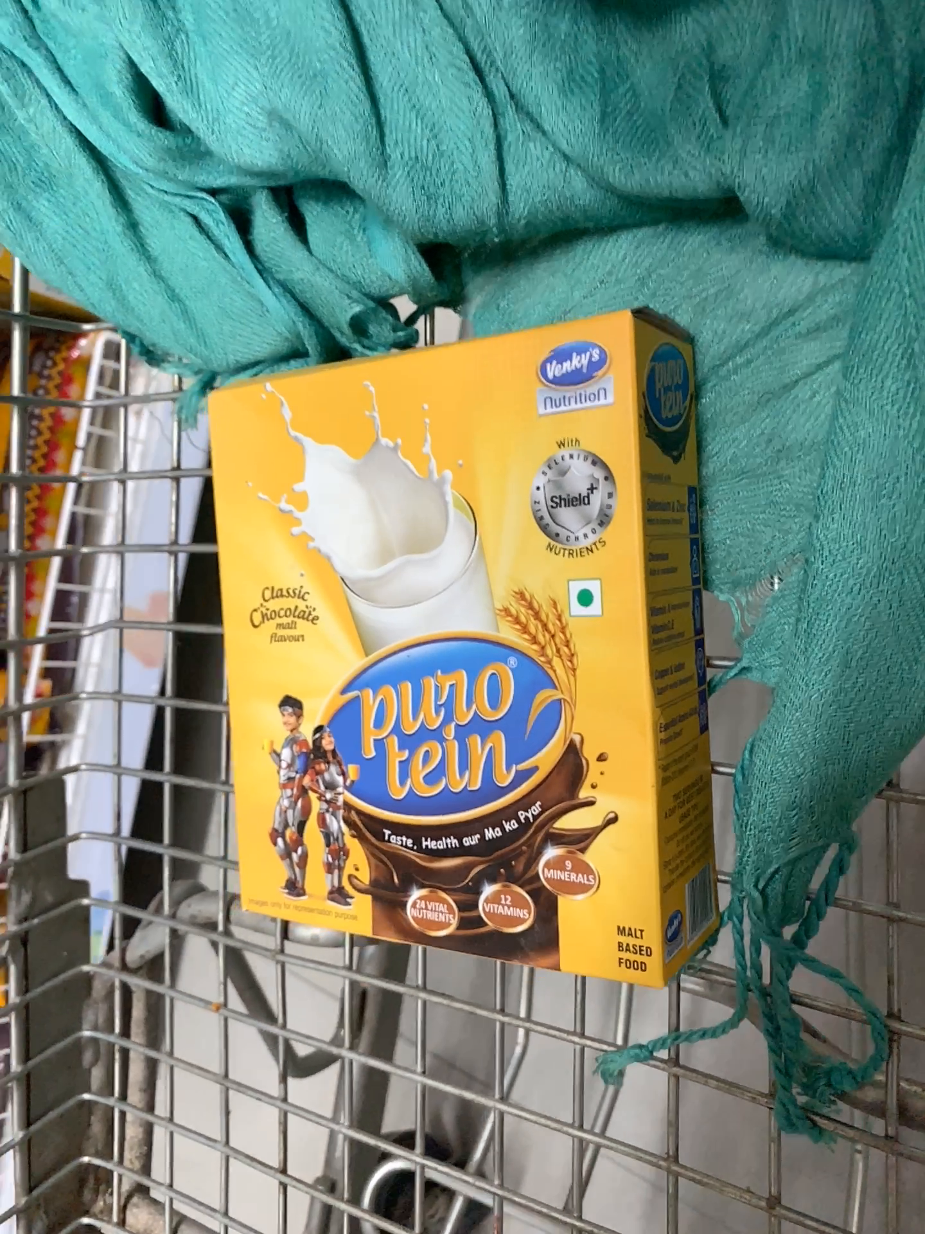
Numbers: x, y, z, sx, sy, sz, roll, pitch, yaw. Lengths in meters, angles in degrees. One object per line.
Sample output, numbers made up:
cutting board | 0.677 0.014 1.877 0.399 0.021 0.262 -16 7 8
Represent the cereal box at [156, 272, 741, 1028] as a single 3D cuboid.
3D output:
cereal box | -0.005 0.008 0.257 0.141 0.050 0.160 -1 97 30
